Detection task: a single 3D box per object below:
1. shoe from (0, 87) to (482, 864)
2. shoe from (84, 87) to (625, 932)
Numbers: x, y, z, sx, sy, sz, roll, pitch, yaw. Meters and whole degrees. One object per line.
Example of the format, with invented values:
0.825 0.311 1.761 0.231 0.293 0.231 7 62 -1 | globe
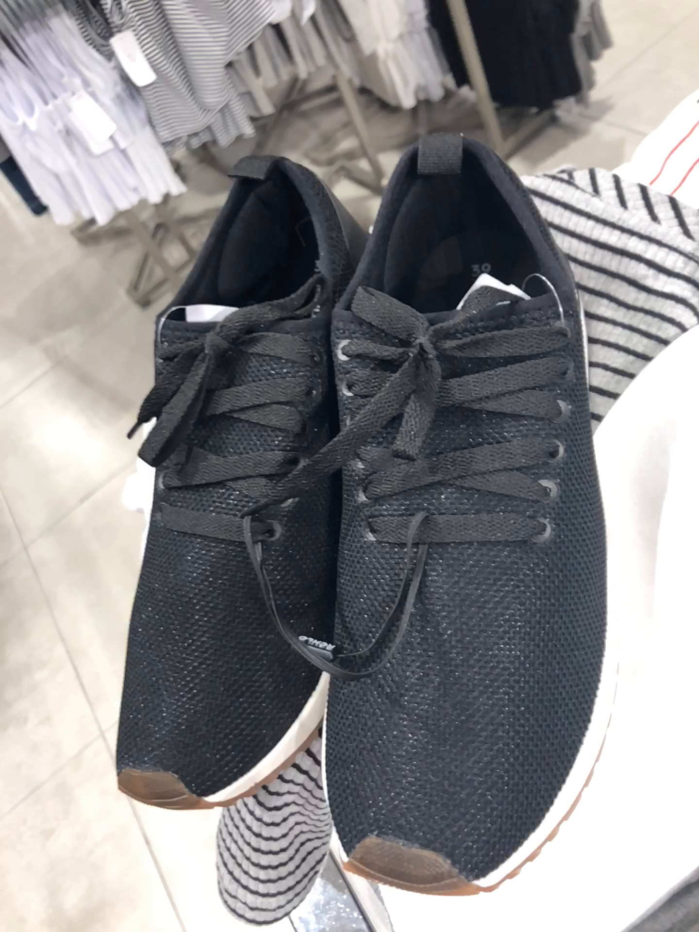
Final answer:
-0.037 -0.004 0.309 0.100 0.119 0.261 2 60 28 | shoe
0.036 0.005 0.275 0.100 0.119 0.271 -3 51 25 | shoe
